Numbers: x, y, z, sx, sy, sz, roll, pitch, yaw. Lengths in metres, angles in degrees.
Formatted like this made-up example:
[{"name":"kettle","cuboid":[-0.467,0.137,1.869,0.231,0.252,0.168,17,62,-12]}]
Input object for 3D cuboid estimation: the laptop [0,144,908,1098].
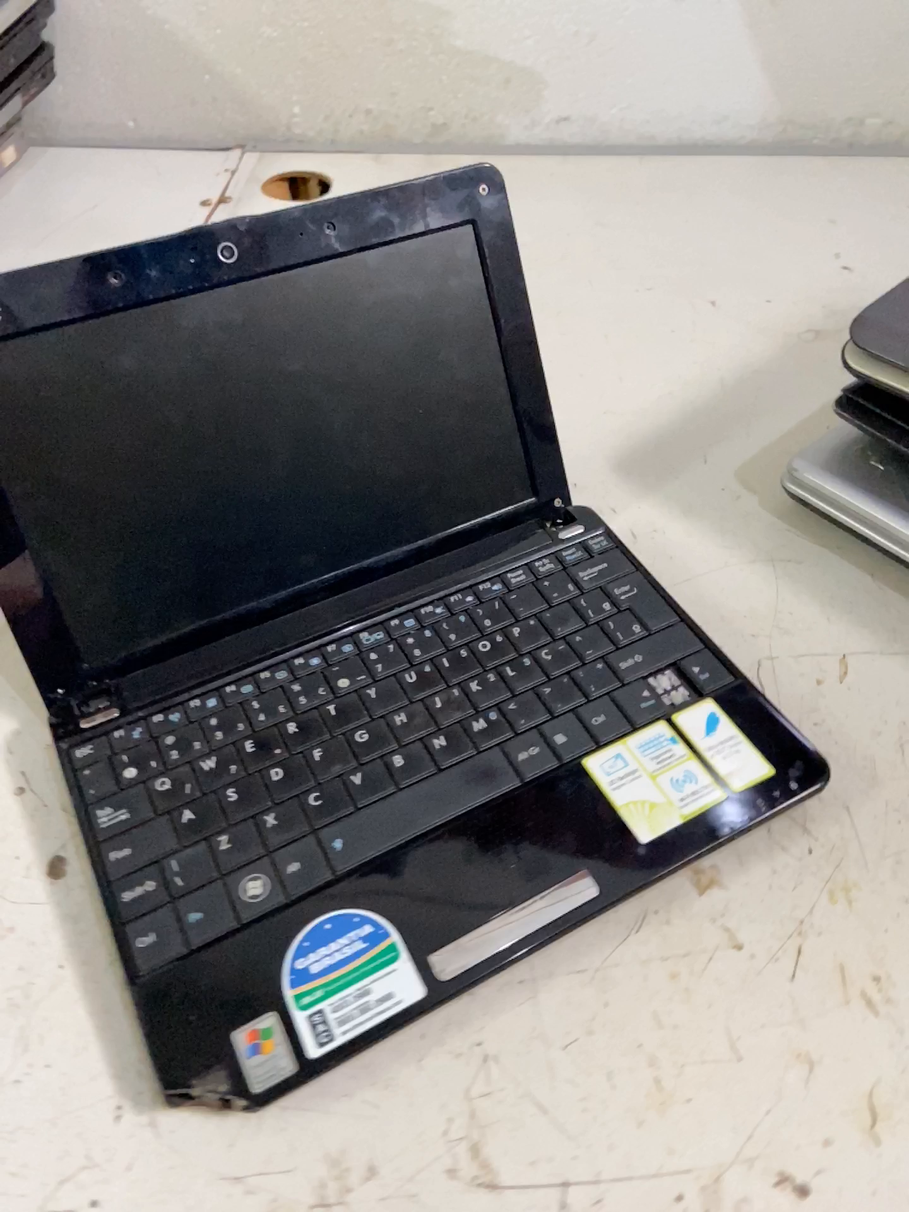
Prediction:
[{"name":"laptop","cuboid":[-0.036,-0.028,0.352,0.259,0.131,0.266,-22,53,-18]}]
